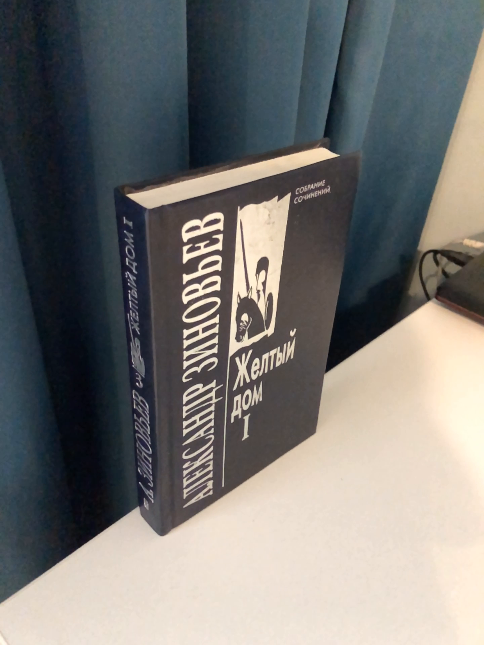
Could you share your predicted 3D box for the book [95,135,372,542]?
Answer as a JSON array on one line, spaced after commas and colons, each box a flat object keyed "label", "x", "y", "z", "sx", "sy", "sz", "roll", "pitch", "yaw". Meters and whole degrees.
[{"label": "book", "x": -0.002, "y": 0.014, "z": 0.307, "sx": 0.141, "sy": 0.210, "sz": 0.032, "roll": -25, "pitch": 45, "yaw": -34}]
